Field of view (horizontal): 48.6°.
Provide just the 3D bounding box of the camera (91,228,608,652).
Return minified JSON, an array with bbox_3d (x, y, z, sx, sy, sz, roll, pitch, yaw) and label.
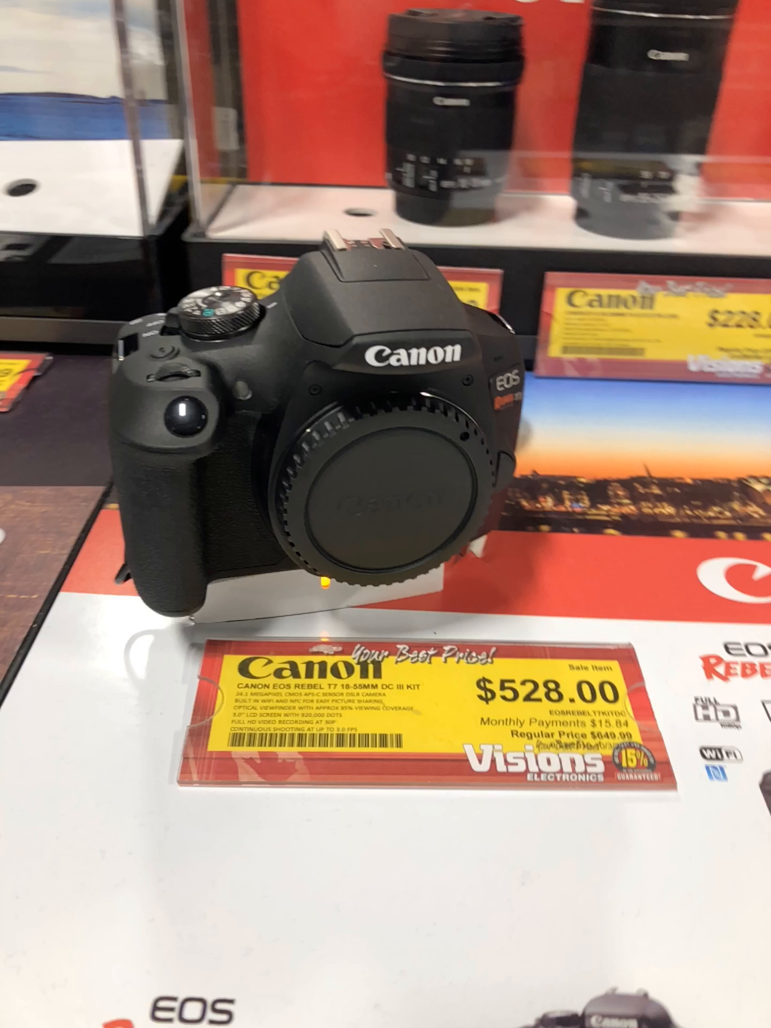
[{"bbox_3d":[-0.016,-0.029,0.265,0.130,0.089,0.081,-8,35,-14],"label":"camera"}]
